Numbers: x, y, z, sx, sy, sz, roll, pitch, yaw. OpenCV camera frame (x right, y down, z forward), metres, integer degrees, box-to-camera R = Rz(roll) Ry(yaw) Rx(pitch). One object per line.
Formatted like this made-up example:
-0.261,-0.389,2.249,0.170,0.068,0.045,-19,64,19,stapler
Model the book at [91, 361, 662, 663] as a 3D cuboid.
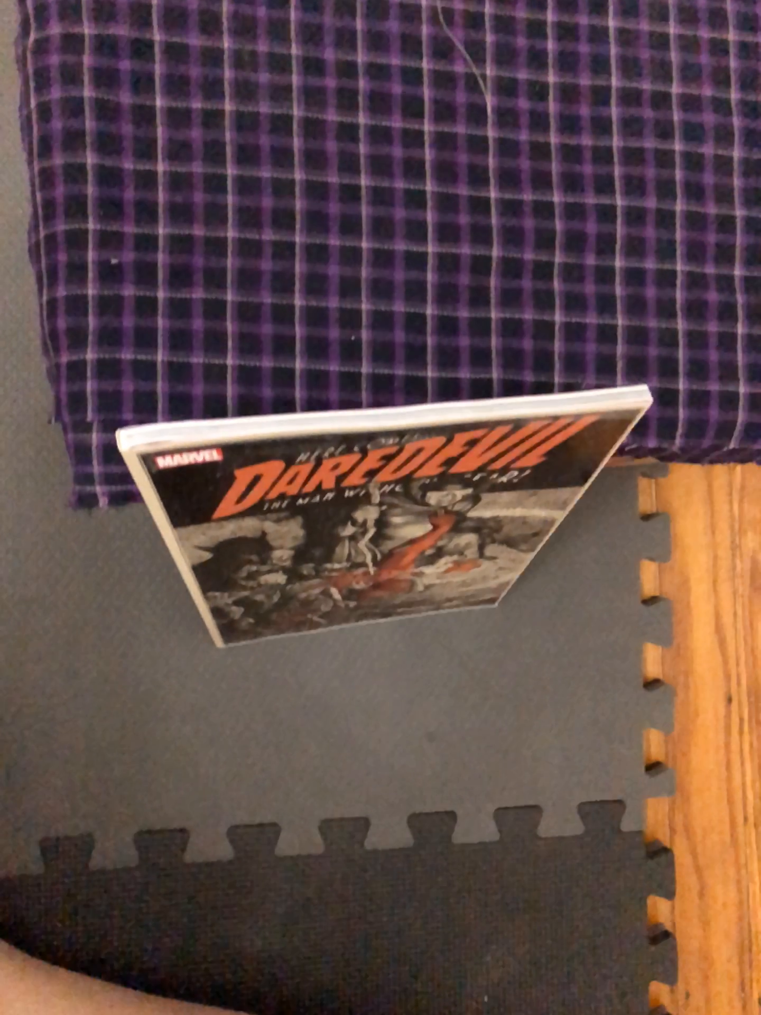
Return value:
-0.007,0.018,0.343,0.160,0.230,0.020,-8,69,-7,book
